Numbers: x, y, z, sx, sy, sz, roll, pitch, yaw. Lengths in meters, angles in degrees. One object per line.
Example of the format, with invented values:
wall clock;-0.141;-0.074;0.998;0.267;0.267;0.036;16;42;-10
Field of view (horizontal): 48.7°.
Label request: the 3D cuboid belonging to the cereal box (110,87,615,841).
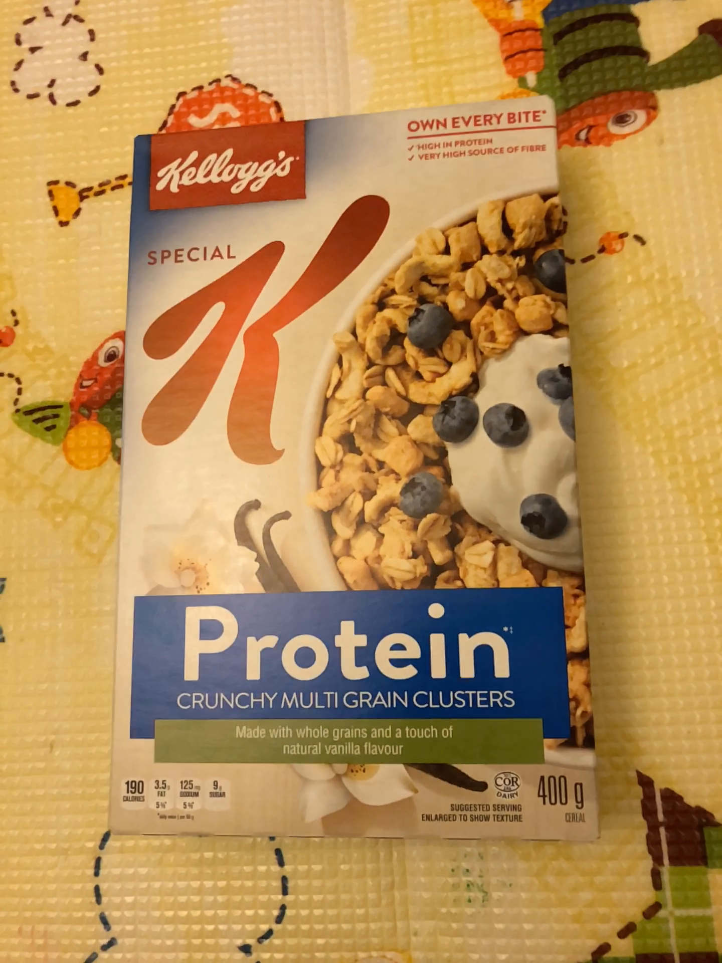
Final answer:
cereal box;0.000;-0.008;0.298;0.160;0.060;0.250;-1;82;5
